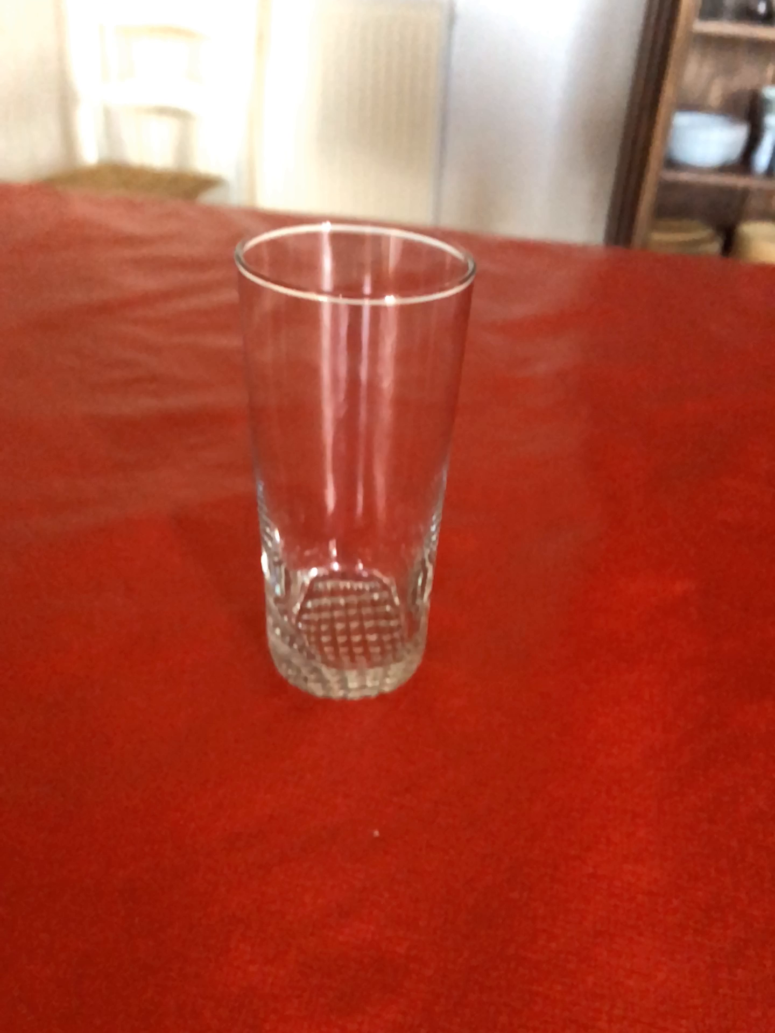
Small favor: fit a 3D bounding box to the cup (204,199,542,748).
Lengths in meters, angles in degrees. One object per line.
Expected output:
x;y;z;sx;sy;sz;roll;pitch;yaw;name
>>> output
-0.010;-0.013;0.275;0.070;0.149;0.070;2;33;-1;cup
